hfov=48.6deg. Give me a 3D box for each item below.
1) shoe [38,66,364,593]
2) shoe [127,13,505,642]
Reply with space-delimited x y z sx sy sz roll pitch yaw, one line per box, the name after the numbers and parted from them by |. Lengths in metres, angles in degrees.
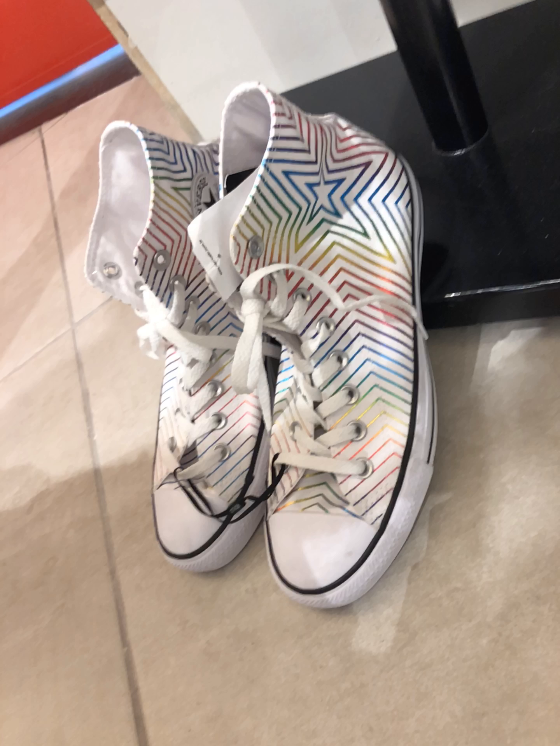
-0.040 -0.020 0.427 0.120 0.139 0.300 -2 75 34 | shoe
0.041 -0.019 0.360 0.120 0.139 0.301 -2 68 34 | shoe
